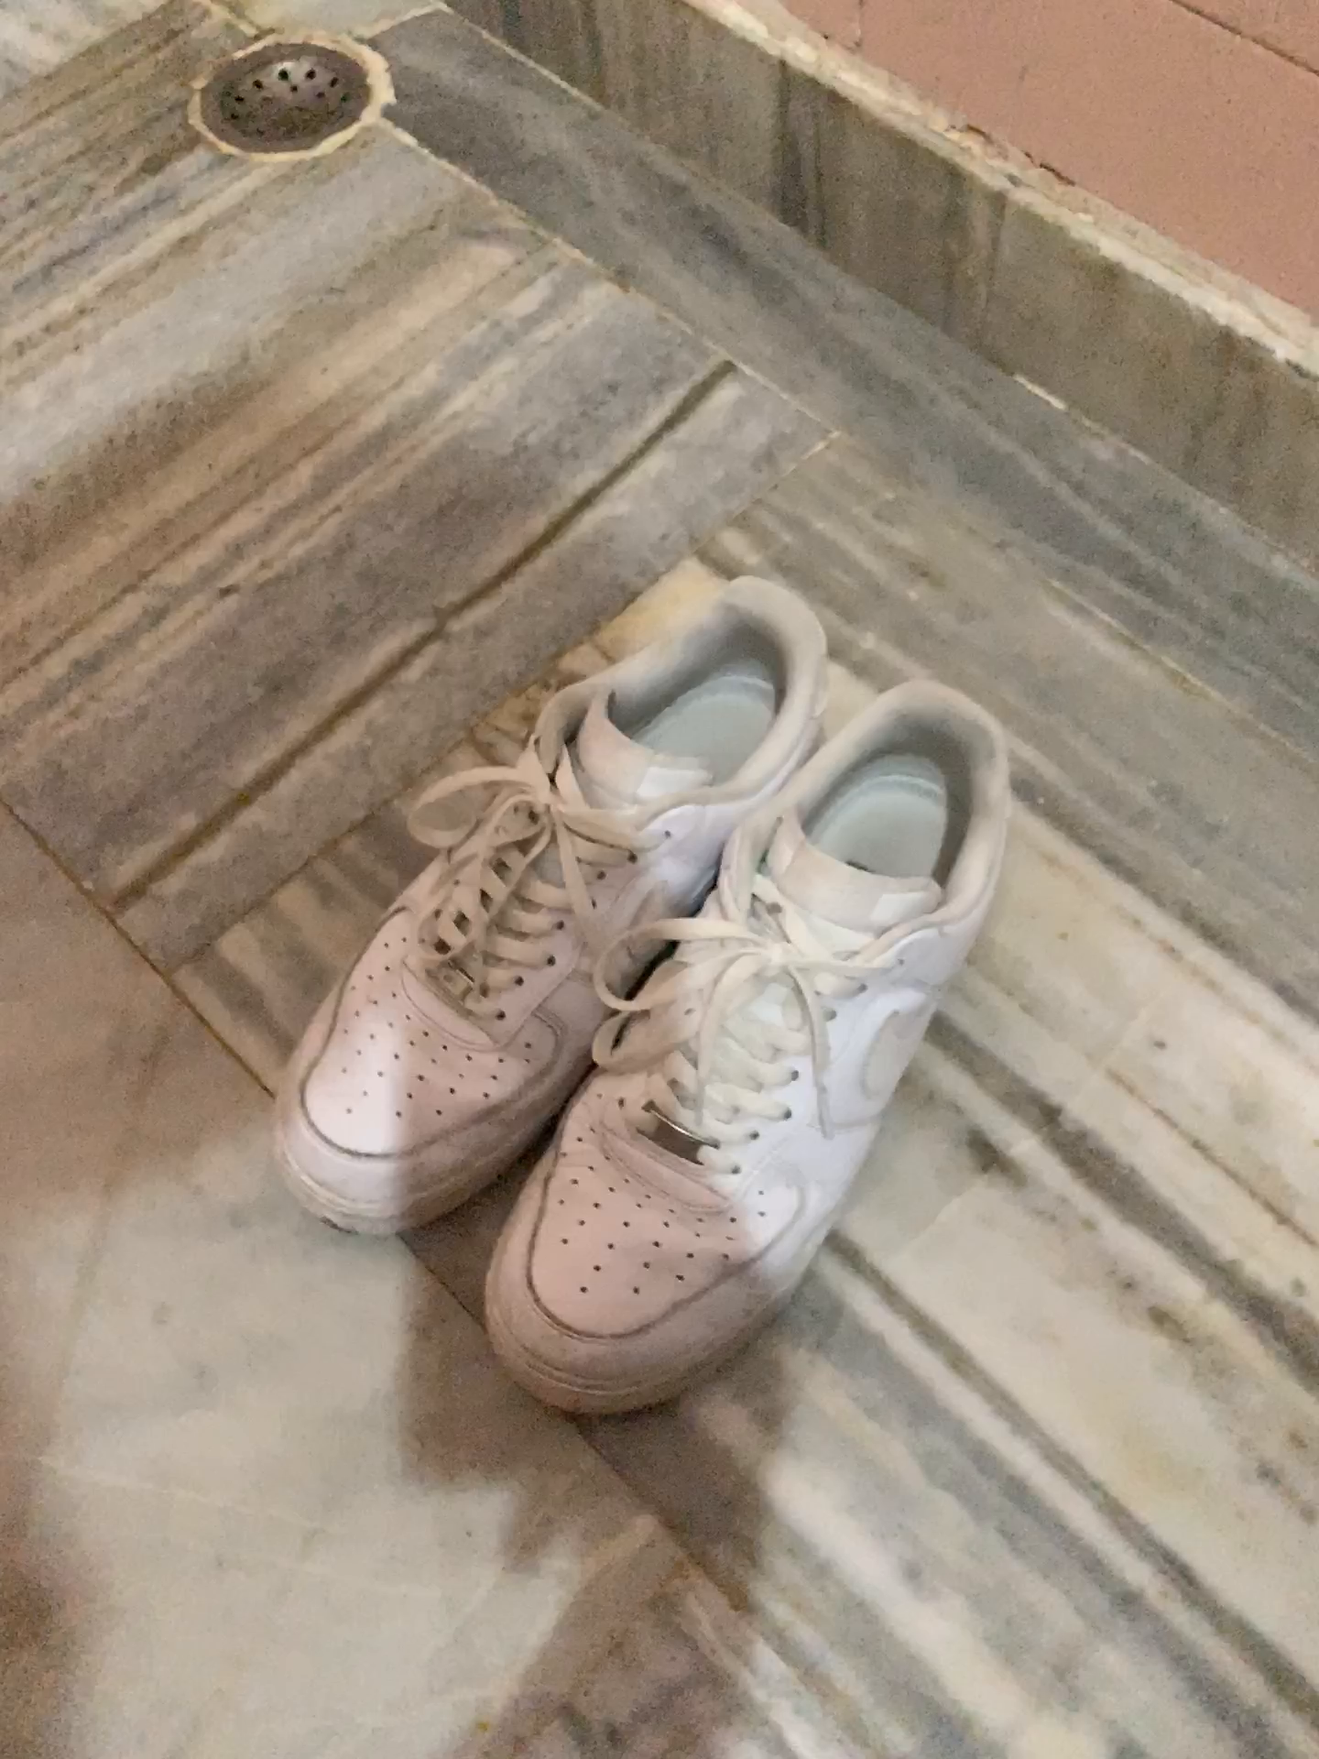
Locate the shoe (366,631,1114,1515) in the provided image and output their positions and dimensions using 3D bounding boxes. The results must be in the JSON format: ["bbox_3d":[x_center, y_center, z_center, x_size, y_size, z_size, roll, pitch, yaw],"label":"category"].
[{"bbox_3d":[0.040,0.071,0.528,0.110,0.120,0.309,31,69,15],"label":"shoe"}]

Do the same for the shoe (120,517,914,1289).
[{"bbox_3d":[-0.045,0.007,0.569,0.110,0.120,0.309,41,72,18],"label":"shoe"}]
